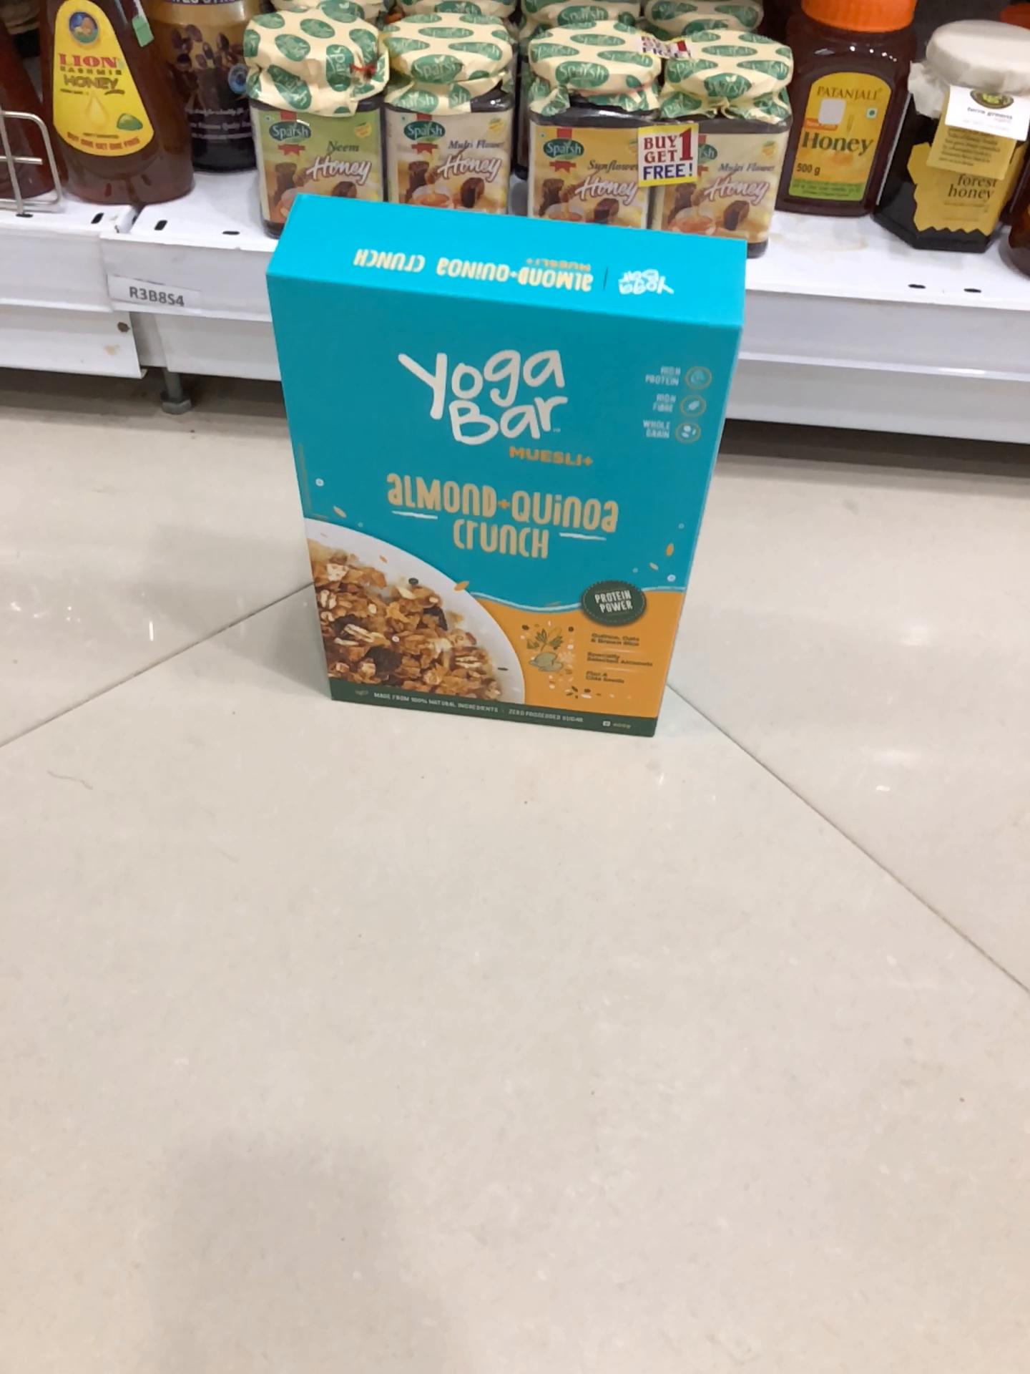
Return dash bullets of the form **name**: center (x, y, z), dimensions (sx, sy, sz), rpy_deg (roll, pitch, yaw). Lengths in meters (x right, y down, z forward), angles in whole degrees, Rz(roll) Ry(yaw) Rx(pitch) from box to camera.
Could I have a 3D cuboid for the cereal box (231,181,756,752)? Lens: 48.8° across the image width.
- **cereal box**: center (-0.009, -0.075, 0.471), dimensions (0.170, 0.228, 0.060), rpy_deg (6, 50, 2)
